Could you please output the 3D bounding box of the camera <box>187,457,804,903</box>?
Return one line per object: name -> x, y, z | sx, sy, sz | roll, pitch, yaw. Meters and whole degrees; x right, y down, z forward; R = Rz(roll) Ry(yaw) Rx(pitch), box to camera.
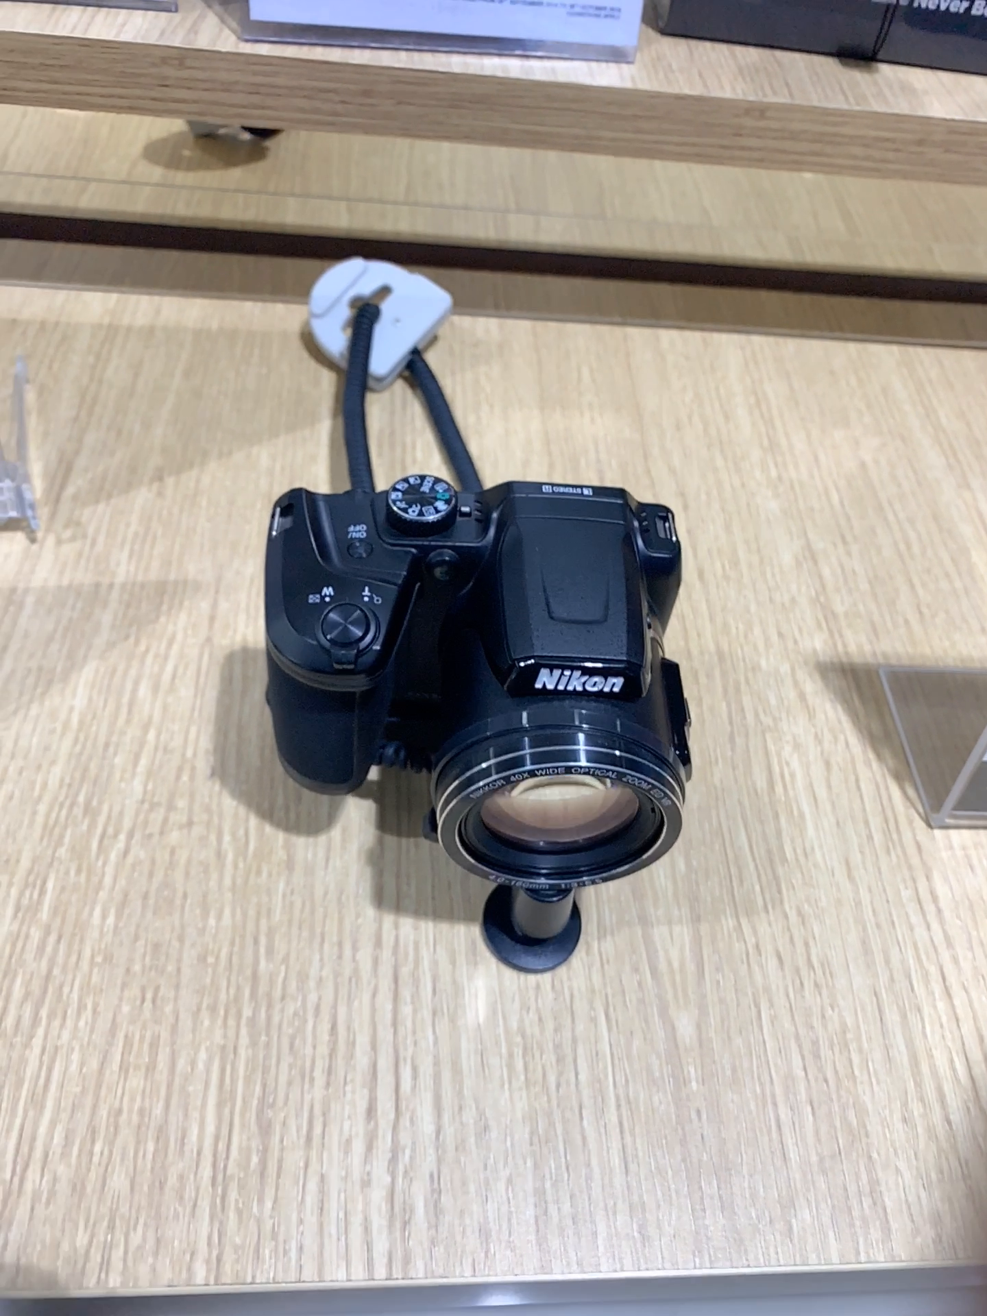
camera -> -0.003, 0.007, 0.250 | 0.120, 0.070, 0.080 | 1, 52, -6
